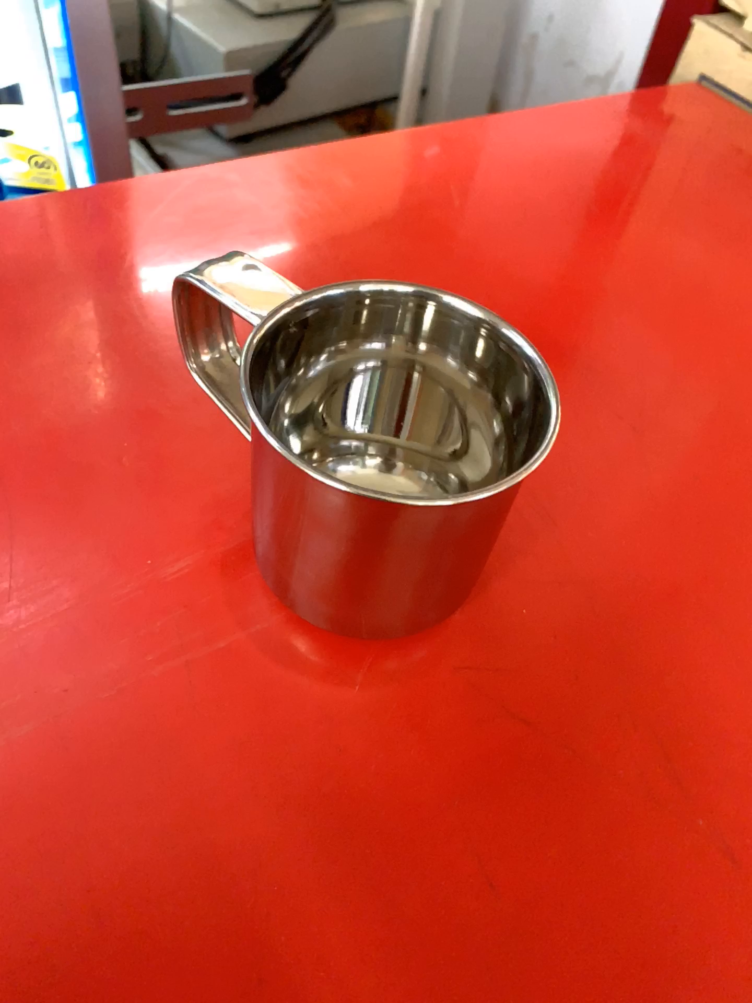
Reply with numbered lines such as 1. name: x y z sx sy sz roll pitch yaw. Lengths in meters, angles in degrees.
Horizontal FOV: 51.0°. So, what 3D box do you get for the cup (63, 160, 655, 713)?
1. cup: -0.007 -0.022 0.203 0.110 0.065 0.080 36 54 21
